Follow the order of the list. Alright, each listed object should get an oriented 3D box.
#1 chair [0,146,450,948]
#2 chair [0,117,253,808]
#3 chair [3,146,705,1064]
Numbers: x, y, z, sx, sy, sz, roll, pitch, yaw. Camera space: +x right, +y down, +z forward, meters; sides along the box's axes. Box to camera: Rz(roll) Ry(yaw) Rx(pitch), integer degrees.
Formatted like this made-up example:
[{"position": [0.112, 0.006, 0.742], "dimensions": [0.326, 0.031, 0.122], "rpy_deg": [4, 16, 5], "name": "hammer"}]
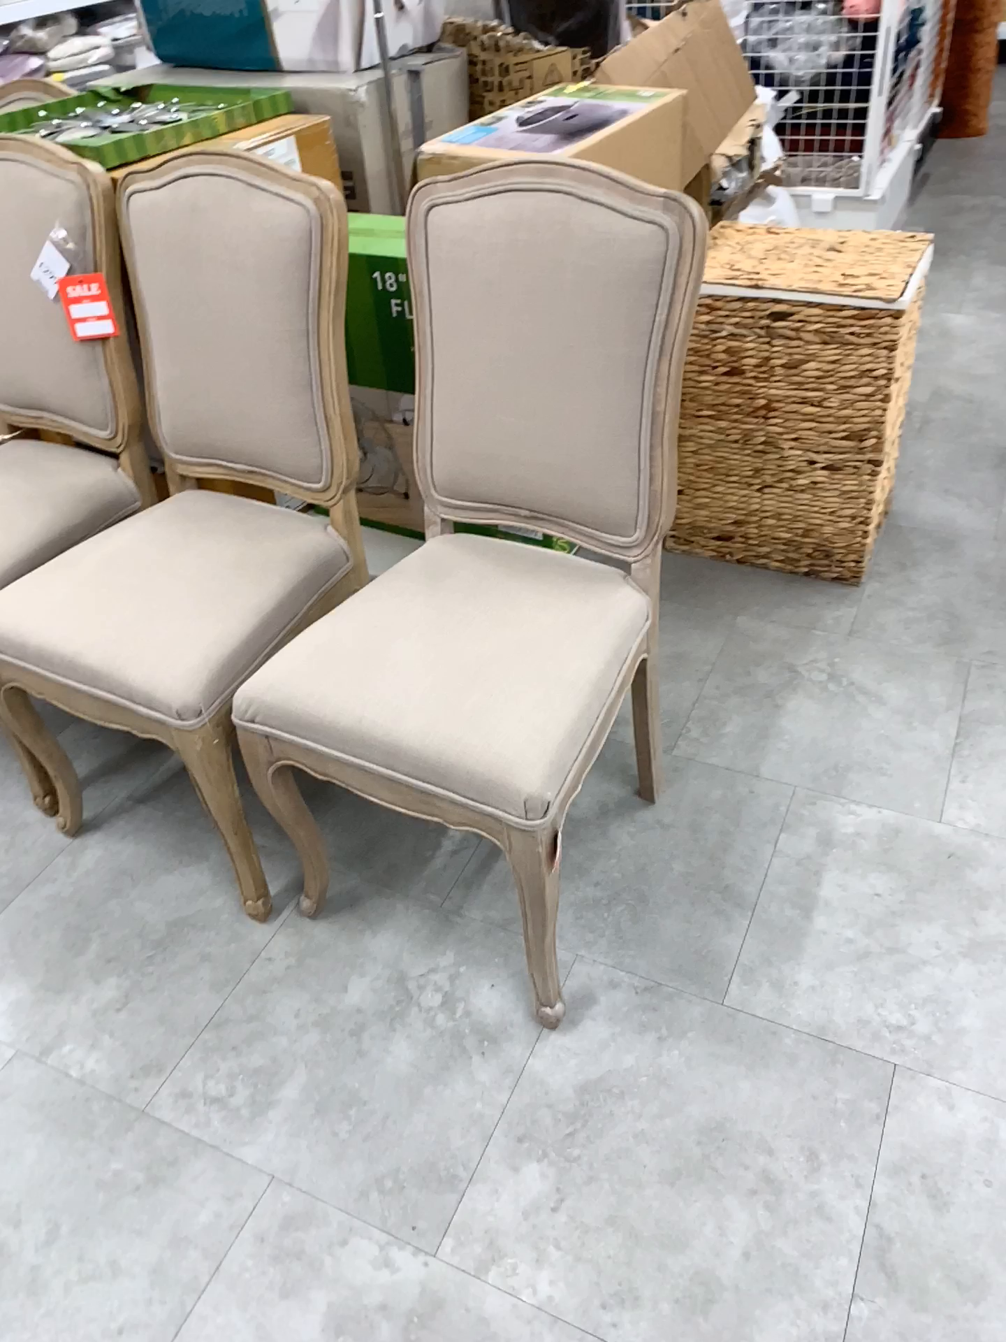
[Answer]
[{"position": [-0.505, -0.188, 1.542], "dimensions": [0.508, 0.973, 0.549], "rpy_deg": [16, 43, 28], "name": "chair"}, {"position": [-0.929, -0.364, 1.792], "dimensions": [0.508, 0.973, 0.549], "rpy_deg": [16, 43, 28], "name": "chair"}, {"position": [-0.071, -0.082, 1.338], "dimensions": [0.507, 0.973, 0.549], "rpy_deg": [12, 42, 24], "name": "chair"}]
